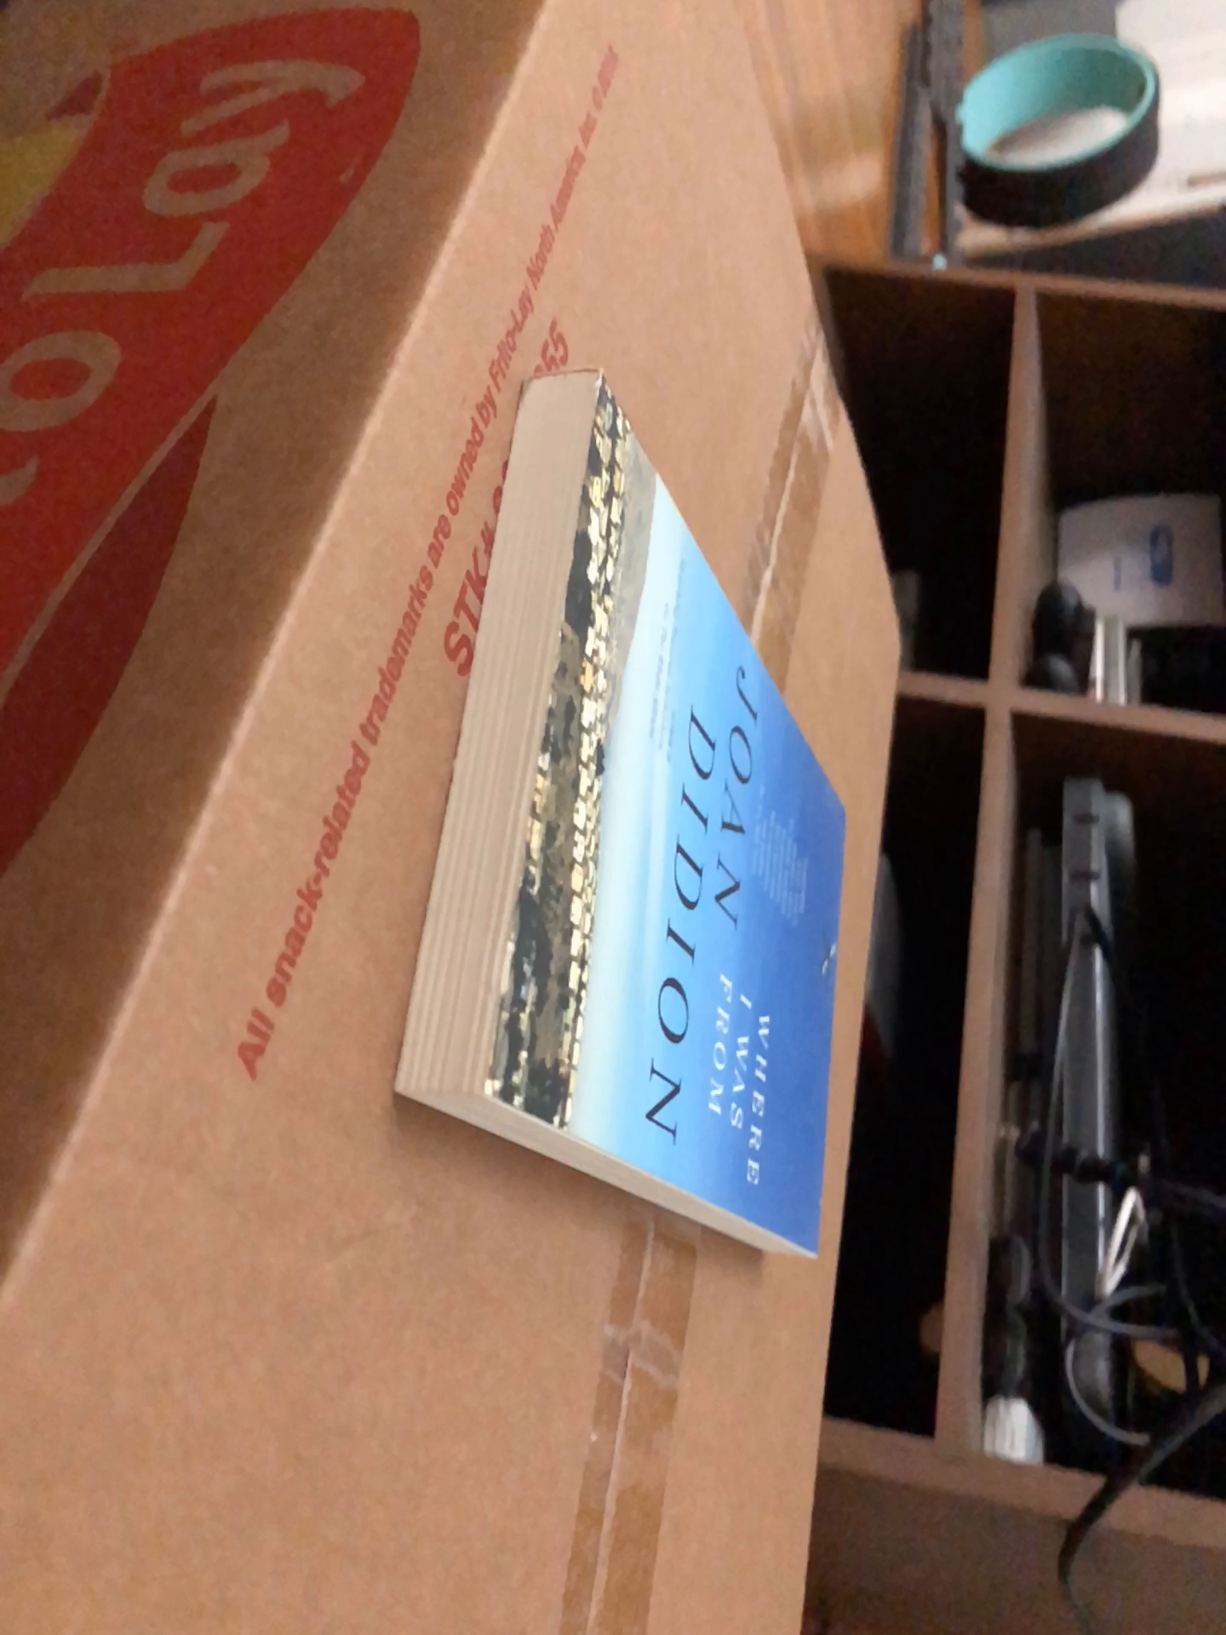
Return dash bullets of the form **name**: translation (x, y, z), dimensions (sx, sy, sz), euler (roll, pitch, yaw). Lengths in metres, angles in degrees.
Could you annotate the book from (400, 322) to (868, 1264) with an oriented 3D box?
- **book**: translation (0.024, 0.017, 0.311), dimensions (0.211, 0.020, 0.140), euler (47, 46, -58)
